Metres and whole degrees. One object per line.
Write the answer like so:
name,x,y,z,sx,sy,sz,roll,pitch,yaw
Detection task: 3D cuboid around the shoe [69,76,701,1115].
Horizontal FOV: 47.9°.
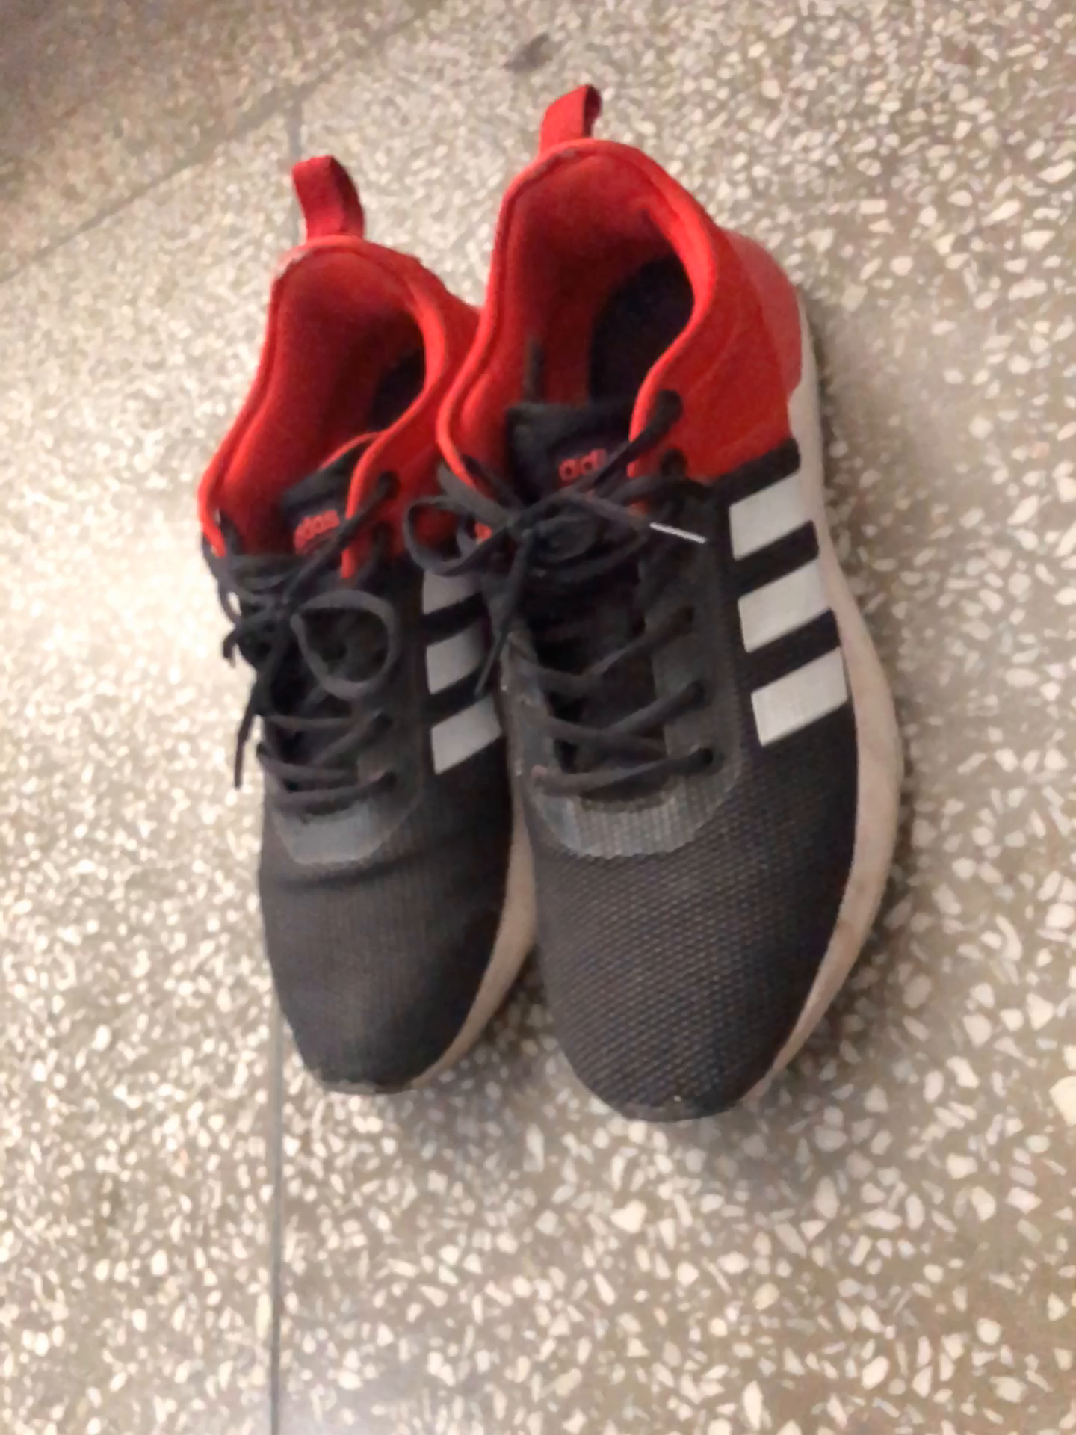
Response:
shoe,-0.035,-0.030,0.427,0.130,0.140,0.310,-7,68,31

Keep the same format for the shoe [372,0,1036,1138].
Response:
shoe,0.059,-0.044,0.376,0.130,0.140,0.320,-9,68,31
